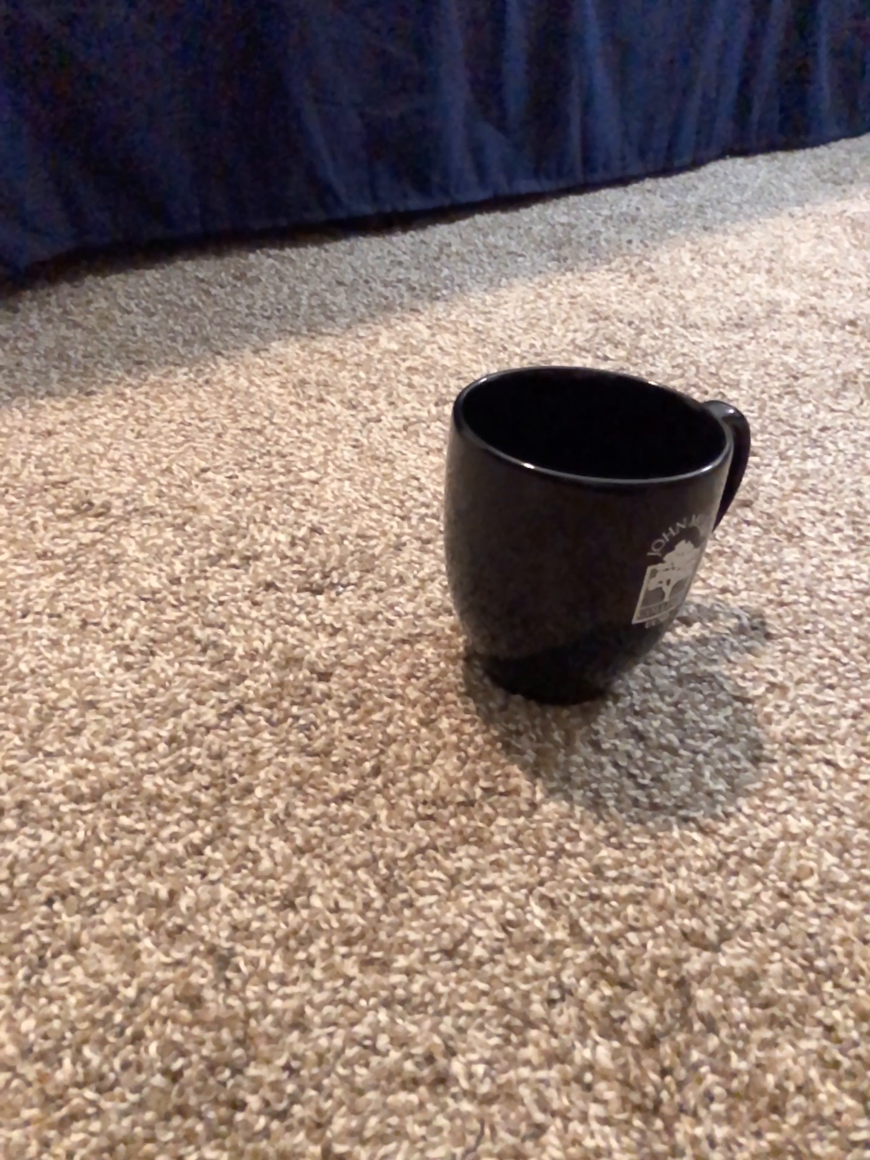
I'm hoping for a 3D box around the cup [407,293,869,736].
[{"bbox_3d":[0.074,-0.033,0.349,0.140,0.090,0.090,-25,44,-32],"label":"cup"}]
